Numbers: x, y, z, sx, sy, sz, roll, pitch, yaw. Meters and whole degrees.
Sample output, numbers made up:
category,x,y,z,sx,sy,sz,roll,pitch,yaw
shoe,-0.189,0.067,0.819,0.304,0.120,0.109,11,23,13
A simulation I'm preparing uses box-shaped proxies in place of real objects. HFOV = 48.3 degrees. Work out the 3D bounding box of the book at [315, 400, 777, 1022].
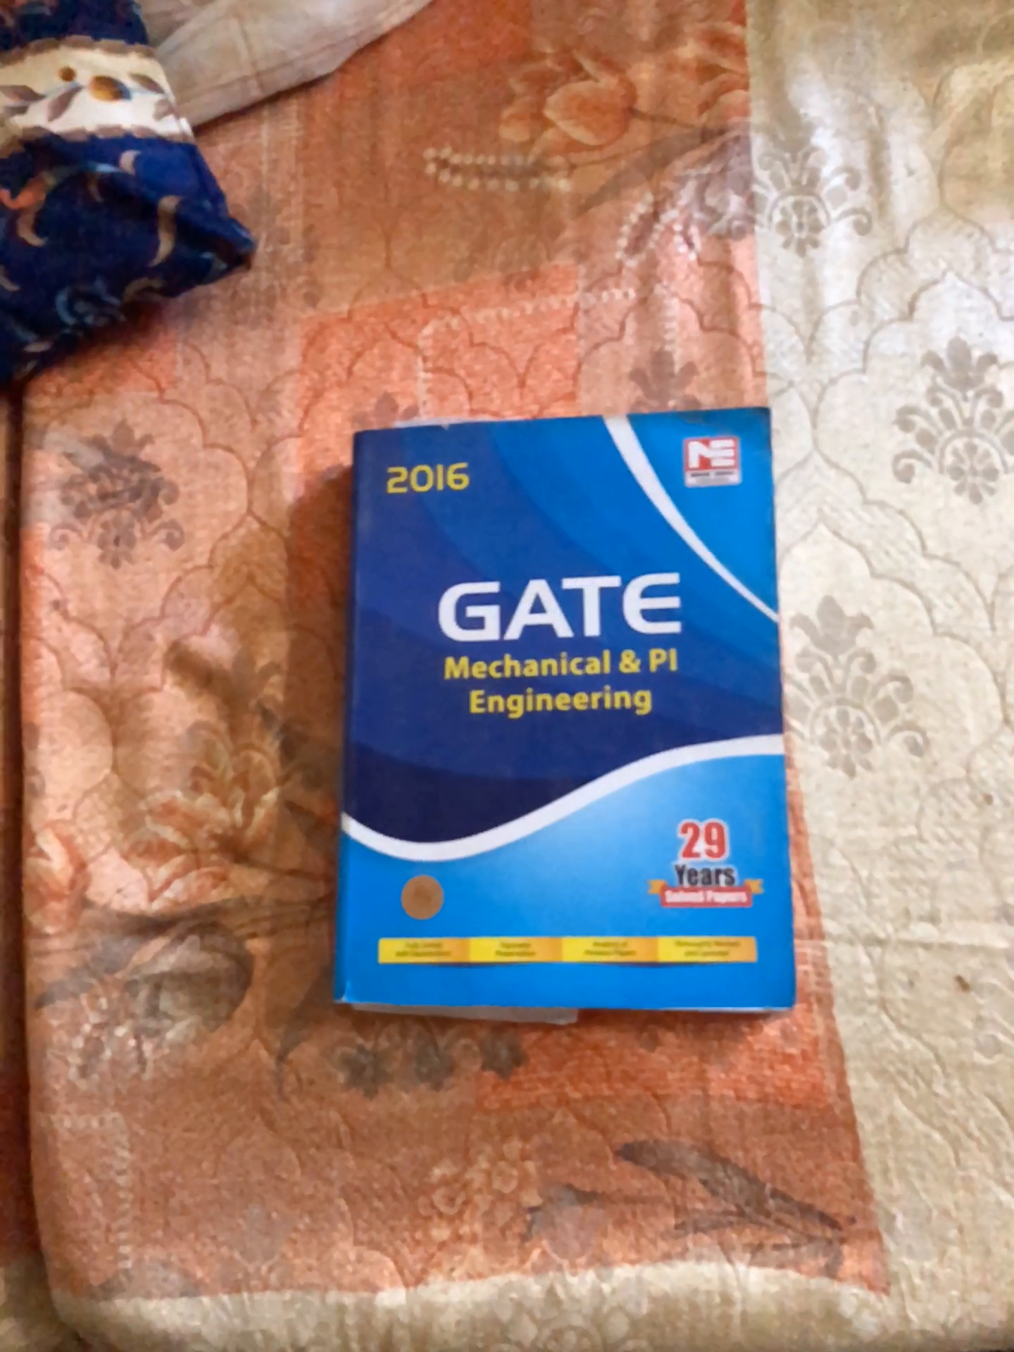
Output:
category,x,y,z,sx,sy,sz,roll,pitch,yaw
book,0.020,0.015,0.541,0.200,0.051,0.280,-1,77,9
